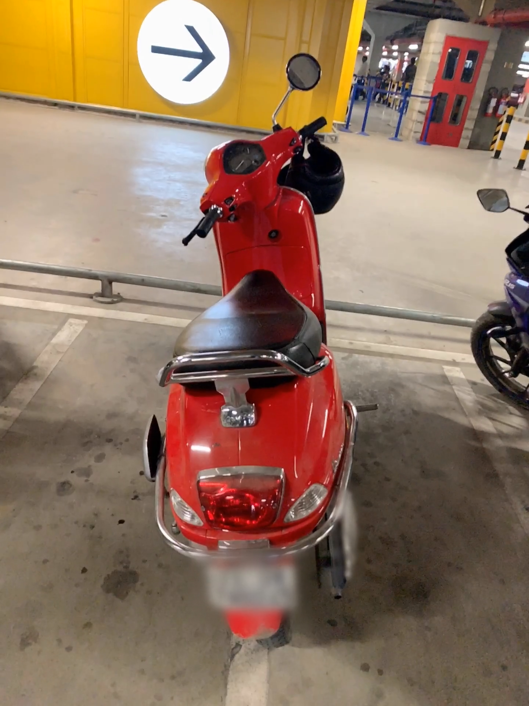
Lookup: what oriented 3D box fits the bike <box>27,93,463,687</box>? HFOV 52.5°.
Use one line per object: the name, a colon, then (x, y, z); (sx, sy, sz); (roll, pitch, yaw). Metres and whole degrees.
bike: (-0.158, -0.116, 1.797); (0.632, 1.201, 1.688); (5, 28, -7)
